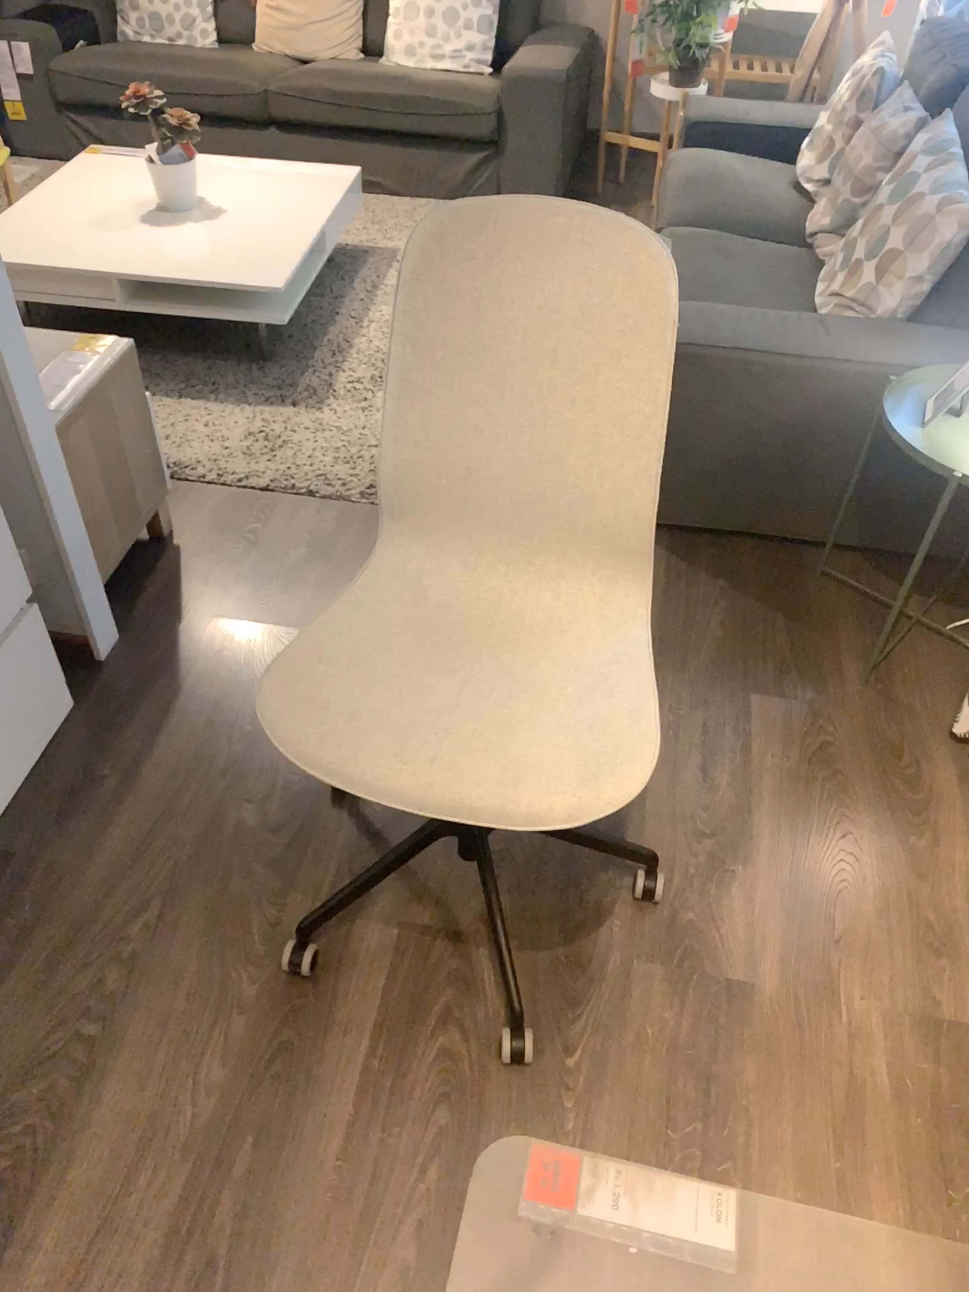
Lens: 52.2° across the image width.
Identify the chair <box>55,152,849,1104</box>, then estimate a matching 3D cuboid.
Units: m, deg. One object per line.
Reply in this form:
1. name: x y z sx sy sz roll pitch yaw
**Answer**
1. chair: 0.013 0.002 1.365 0.630 1.006 0.713 10 44 7
